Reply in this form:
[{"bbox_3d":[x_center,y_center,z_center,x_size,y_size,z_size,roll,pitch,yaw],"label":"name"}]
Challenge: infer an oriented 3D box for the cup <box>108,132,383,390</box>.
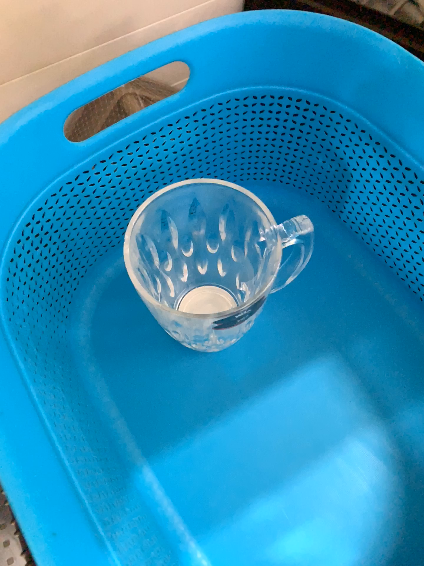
[{"bbox_3d":[0.016,-0.005,0.265,0.110,0.110,0.080,-24,69,-9],"label":"cup"}]
